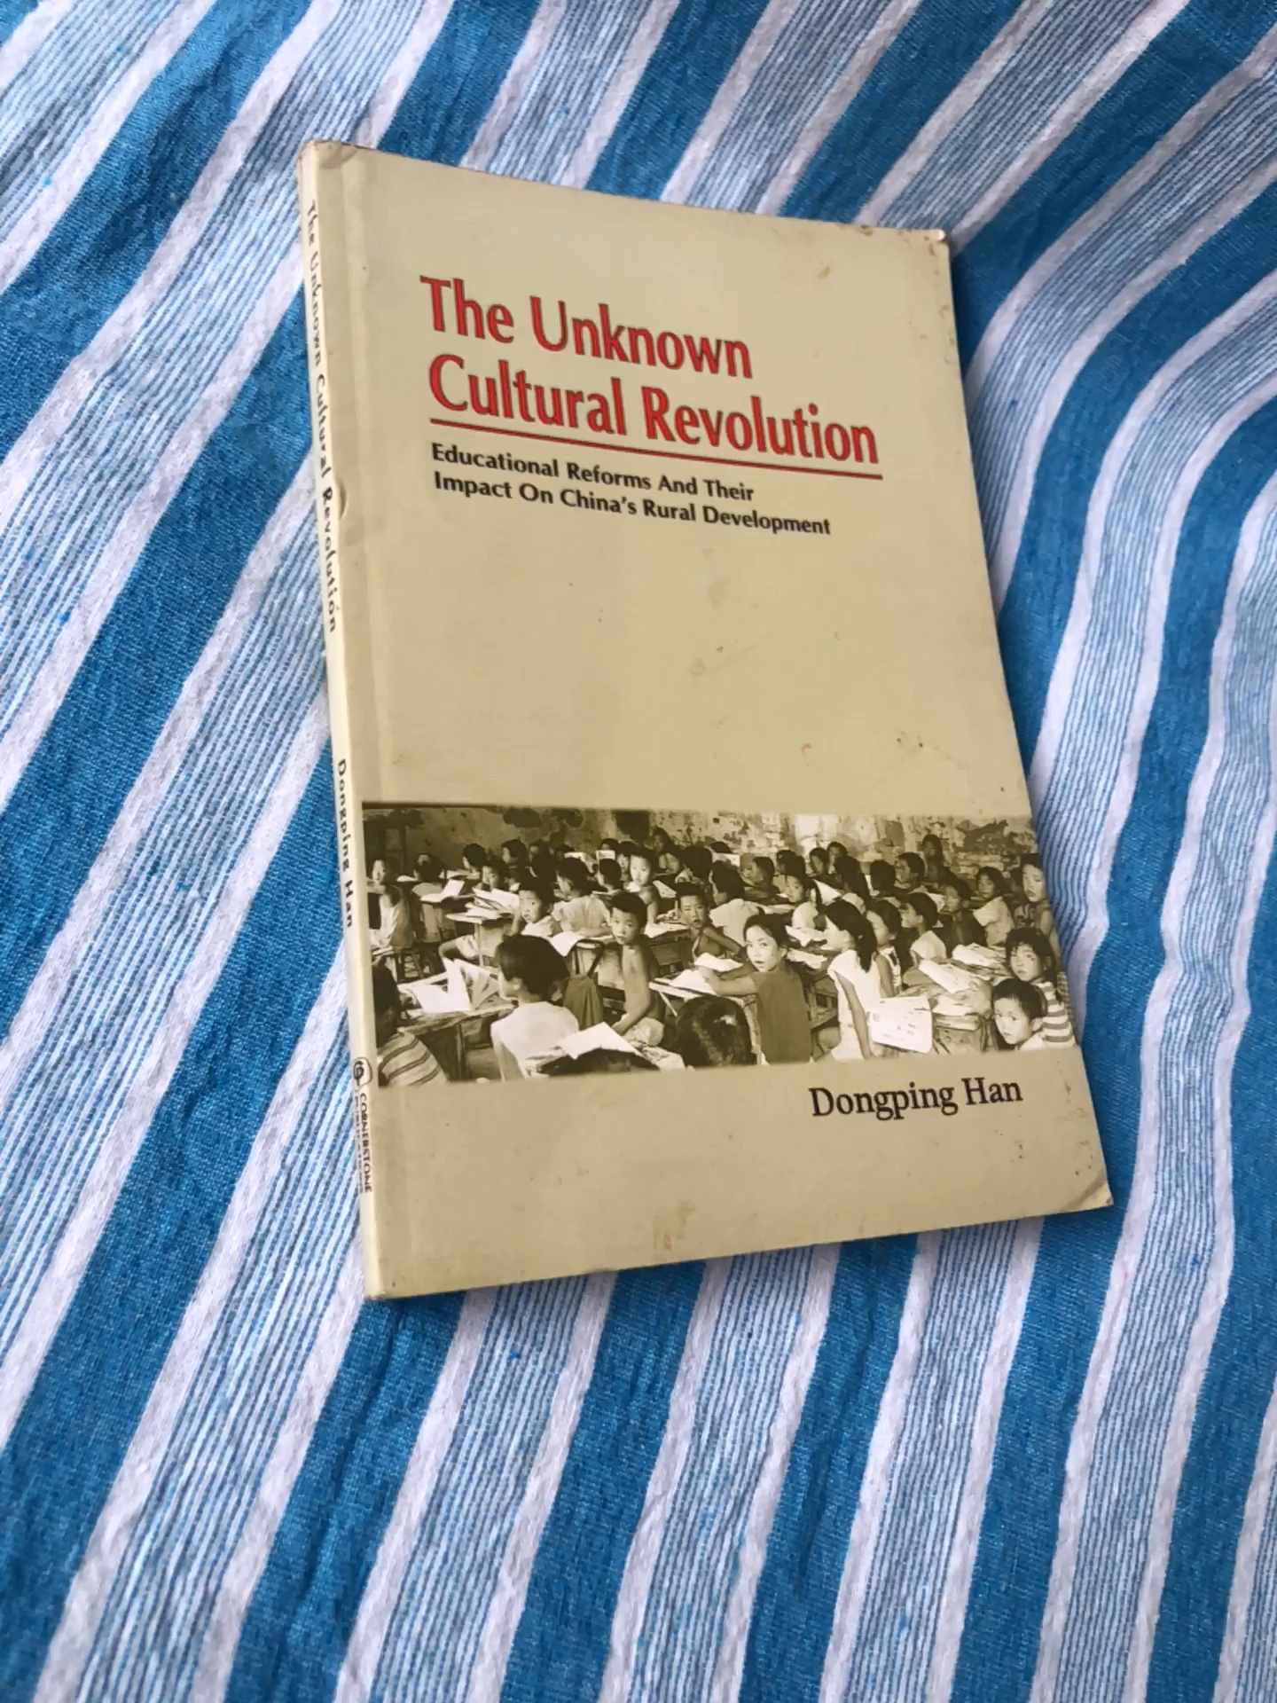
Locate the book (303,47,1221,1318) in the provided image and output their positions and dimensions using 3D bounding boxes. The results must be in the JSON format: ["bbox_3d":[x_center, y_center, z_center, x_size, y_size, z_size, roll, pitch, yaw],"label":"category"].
[{"bbox_3d":[0.014,-0.043,0.262,0.140,0.020,0.230,-1,71,-16],"label":"book"}]
